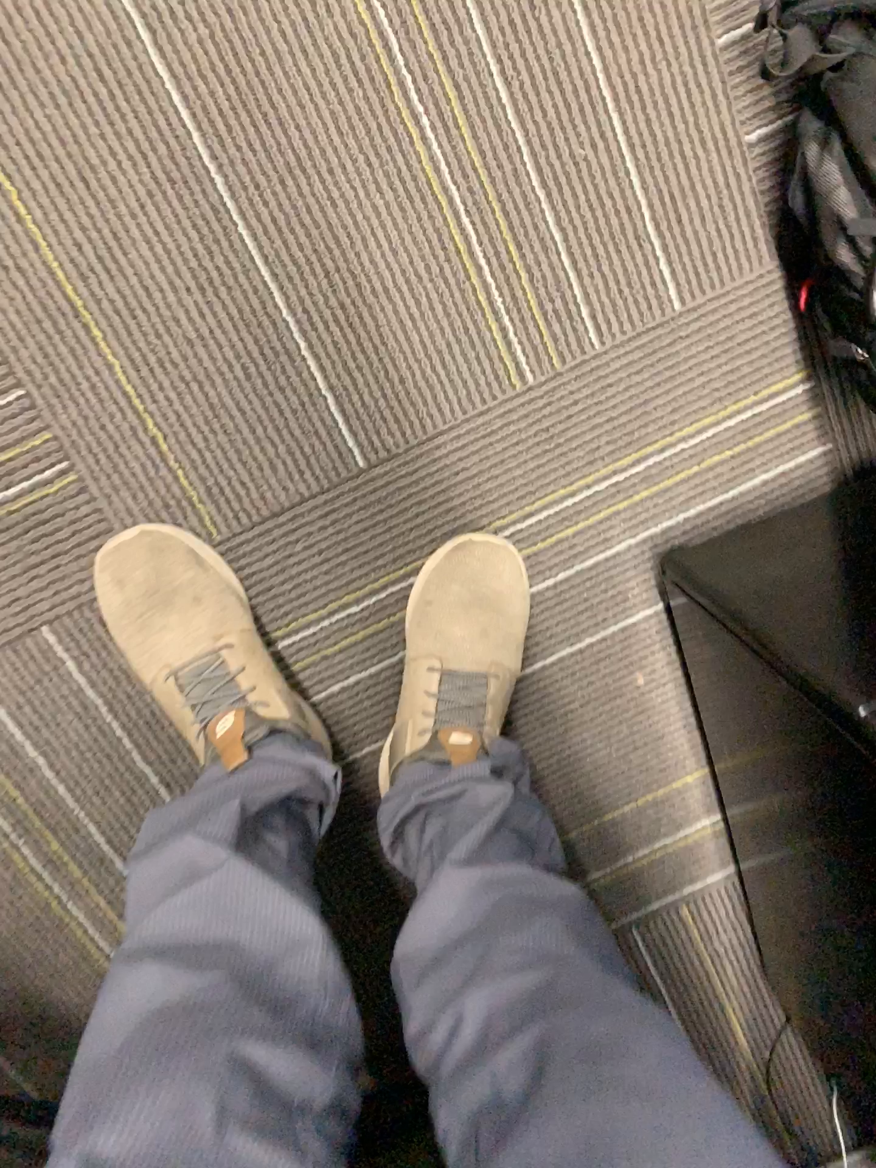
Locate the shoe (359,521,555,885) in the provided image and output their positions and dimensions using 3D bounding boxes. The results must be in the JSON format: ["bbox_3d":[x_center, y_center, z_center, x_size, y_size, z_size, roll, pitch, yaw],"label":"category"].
[{"bbox_3d":[0.008,0.108,0.795,0.107,0.098,0.302,6,109,-12],"label":"shoe"}]

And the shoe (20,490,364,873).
[{"bbox_3d":[-0.199,0.088,0.782,0.126,0.098,0.302,-30,112,2],"label":"shoe"}]
